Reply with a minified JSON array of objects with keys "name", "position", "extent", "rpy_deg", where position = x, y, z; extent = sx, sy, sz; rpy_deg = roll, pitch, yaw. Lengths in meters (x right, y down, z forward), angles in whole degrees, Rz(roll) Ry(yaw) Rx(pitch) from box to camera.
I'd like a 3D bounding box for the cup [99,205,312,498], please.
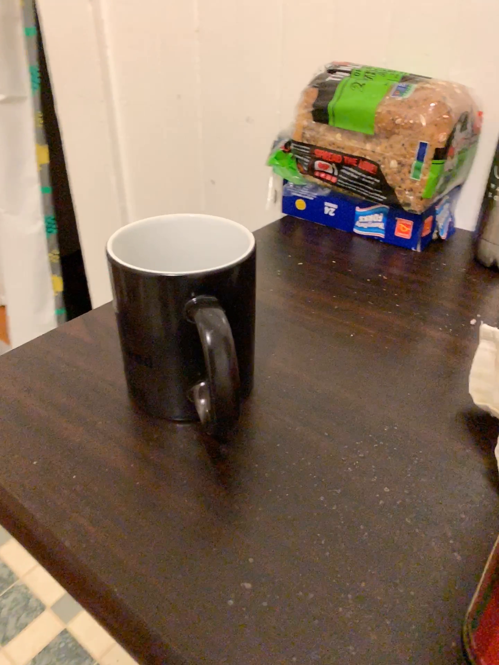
[{"name":"cup","position":[-0.031,0.001,0.296],"extent":[0.080,0.099,0.131],"rpy_deg":[-11,35,-16]}]
